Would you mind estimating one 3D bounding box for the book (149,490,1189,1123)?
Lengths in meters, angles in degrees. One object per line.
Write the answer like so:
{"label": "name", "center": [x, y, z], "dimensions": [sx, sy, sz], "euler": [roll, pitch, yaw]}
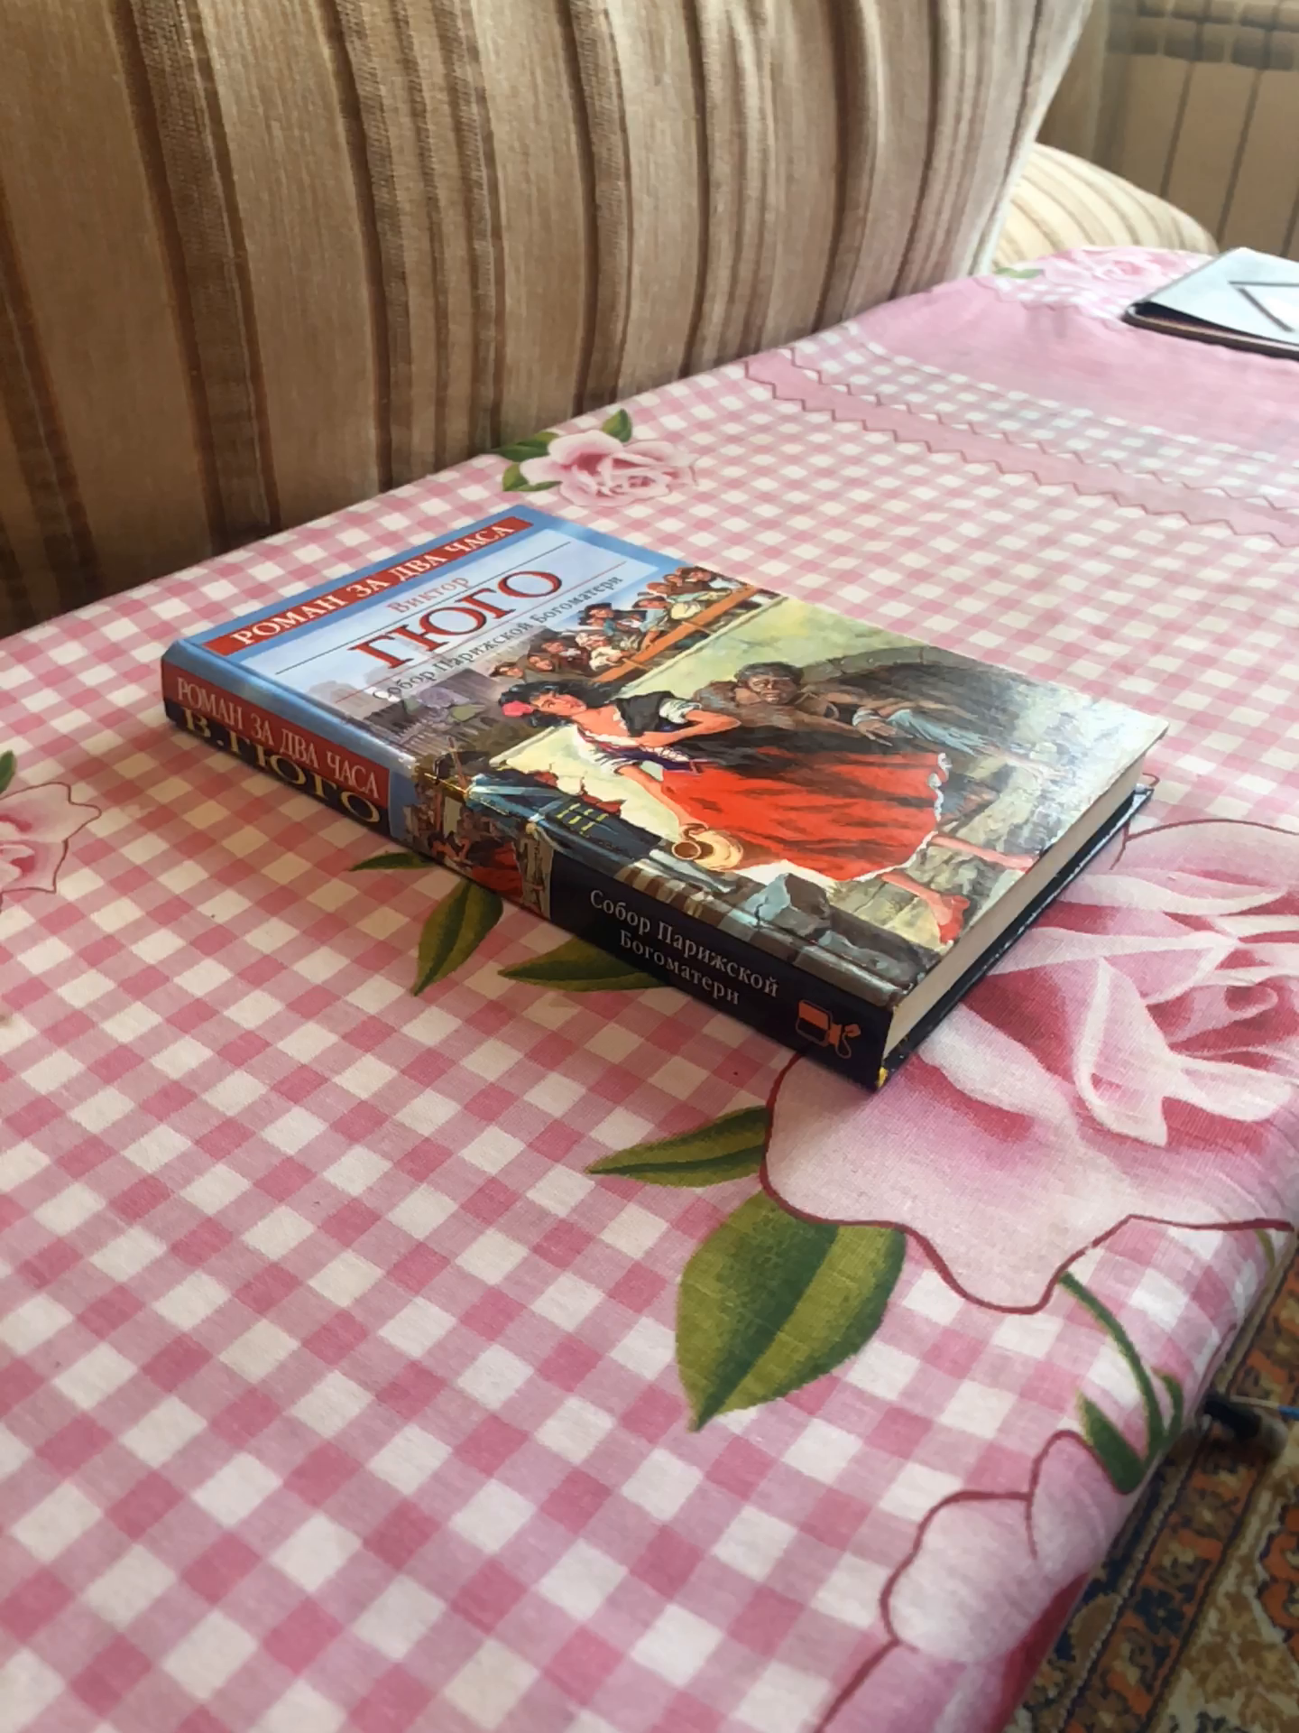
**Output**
{"label": "book", "center": [0.002, -0.034, 0.349], "dimensions": [0.207, 0.027, 0.136], "euler": [25, 41, 29]}
